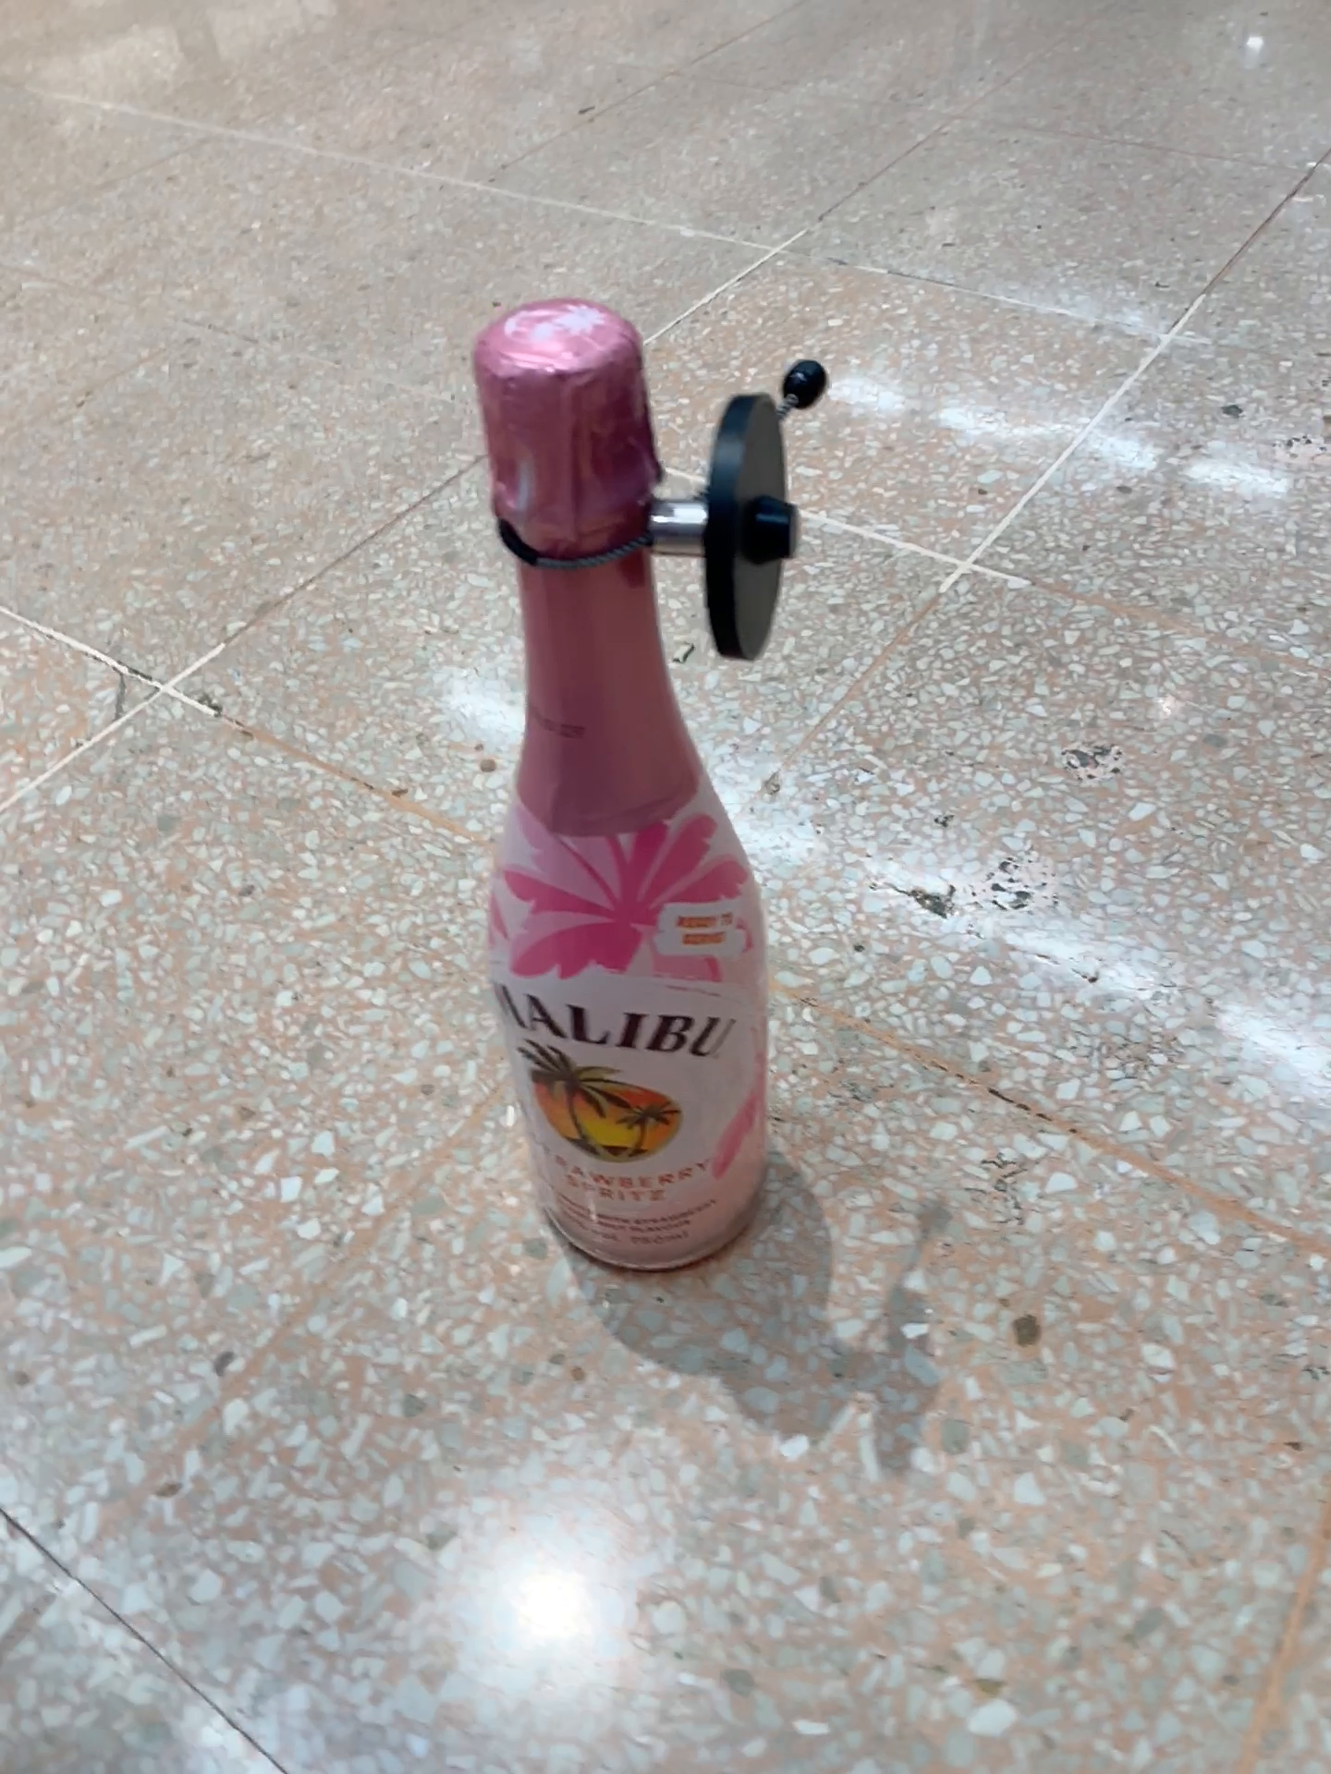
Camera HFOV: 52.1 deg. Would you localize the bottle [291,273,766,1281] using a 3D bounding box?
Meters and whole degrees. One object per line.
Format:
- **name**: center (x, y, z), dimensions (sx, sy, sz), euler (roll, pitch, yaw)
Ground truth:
- **bottle**: center (-0.016, -0.001, 0.366), dimensions (0.080, 0.286, 0.081), euler (-2, 47, 3)
